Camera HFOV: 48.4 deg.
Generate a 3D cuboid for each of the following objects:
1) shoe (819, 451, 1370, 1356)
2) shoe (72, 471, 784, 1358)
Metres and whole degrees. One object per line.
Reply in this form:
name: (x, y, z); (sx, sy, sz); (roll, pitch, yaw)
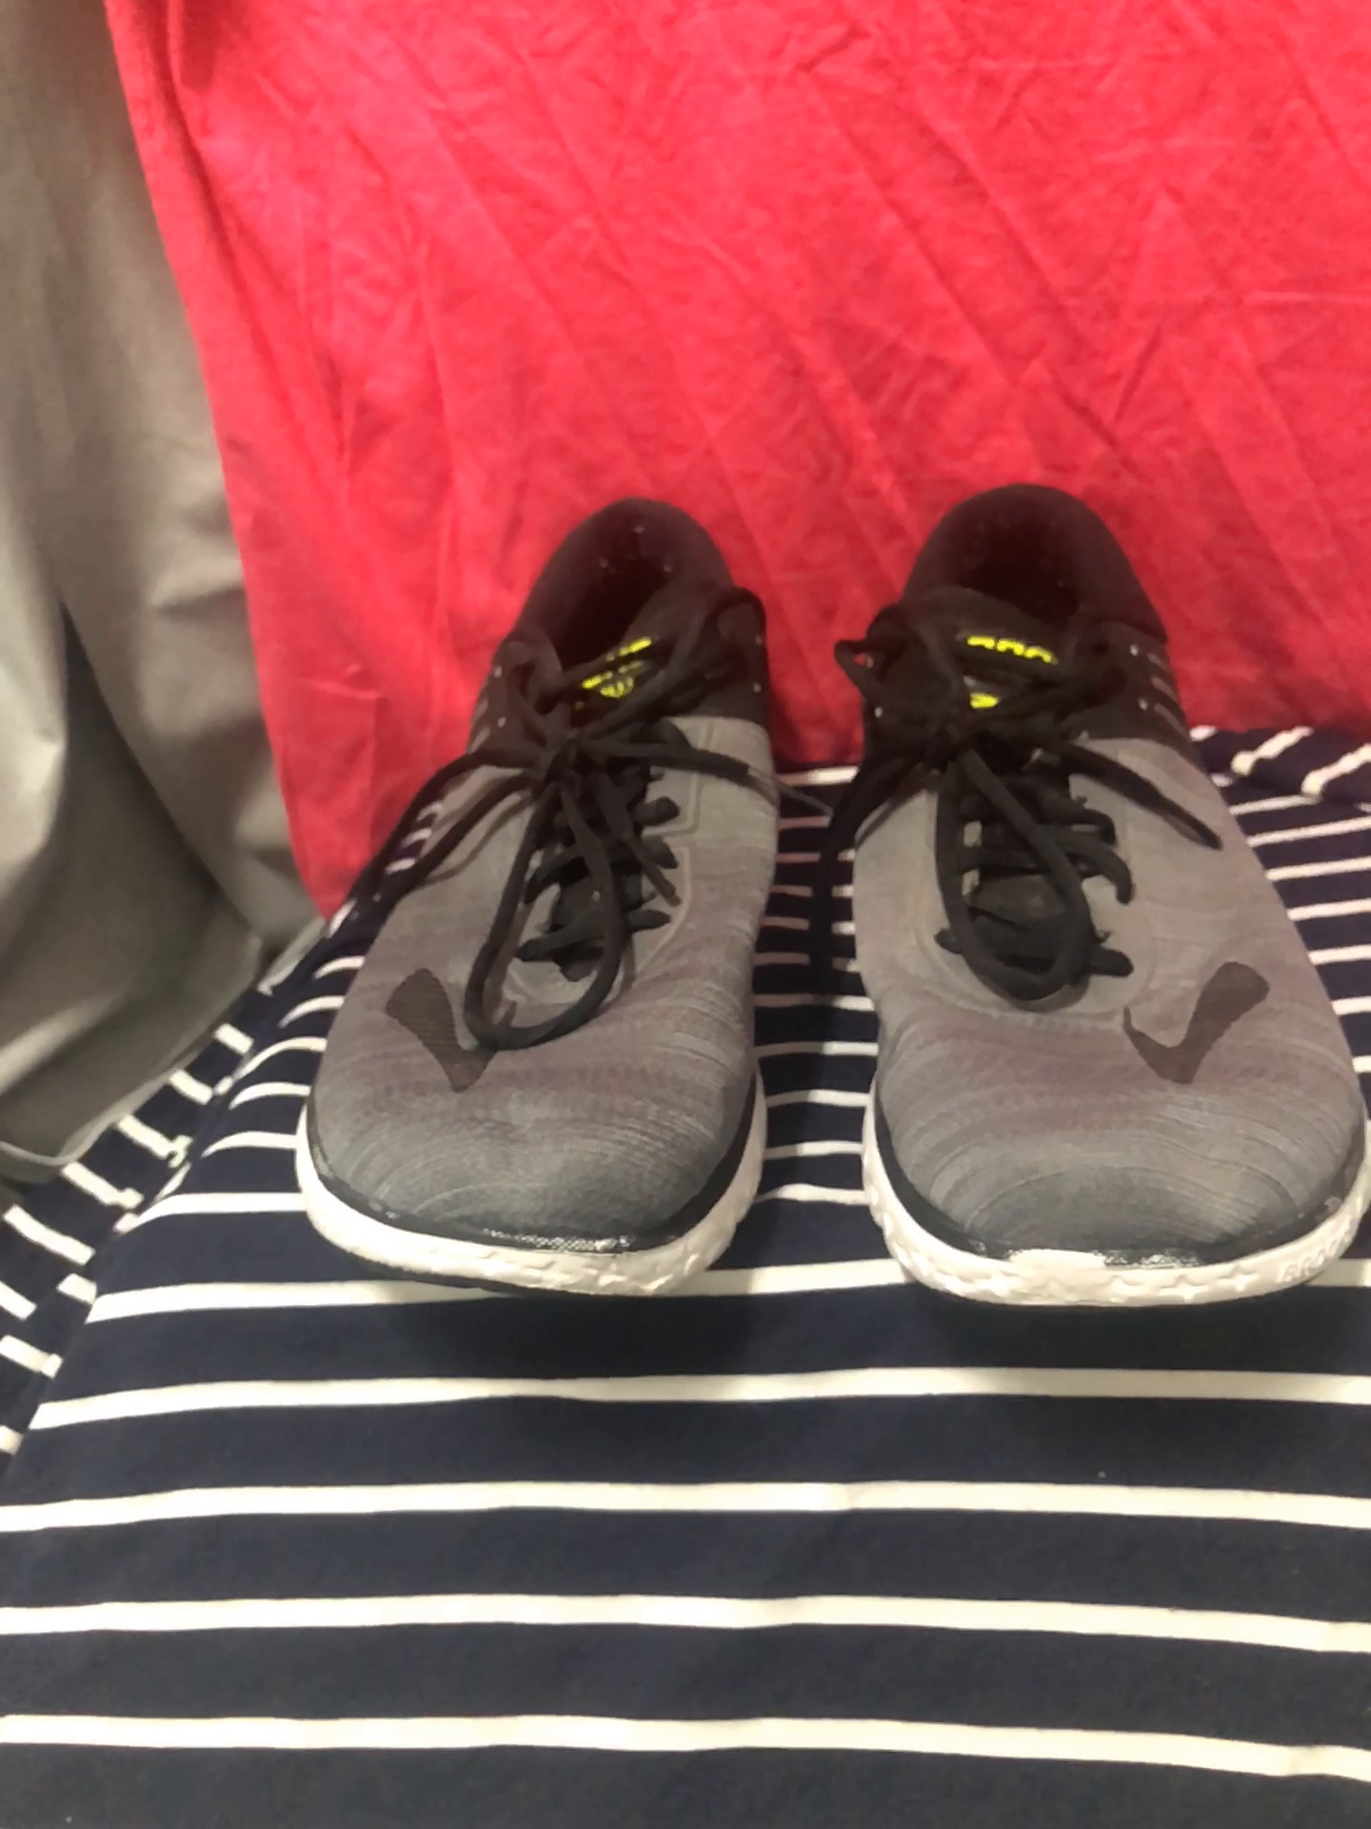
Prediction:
shoe: (0.086, -0.032, 0.352); (0.104, 0.079, 0.282); (-3, 29, 6)
shoe: (-0.031, -0.030, 0.371); (0.102, 0.079, 0.292); (-3, 28, 5)
